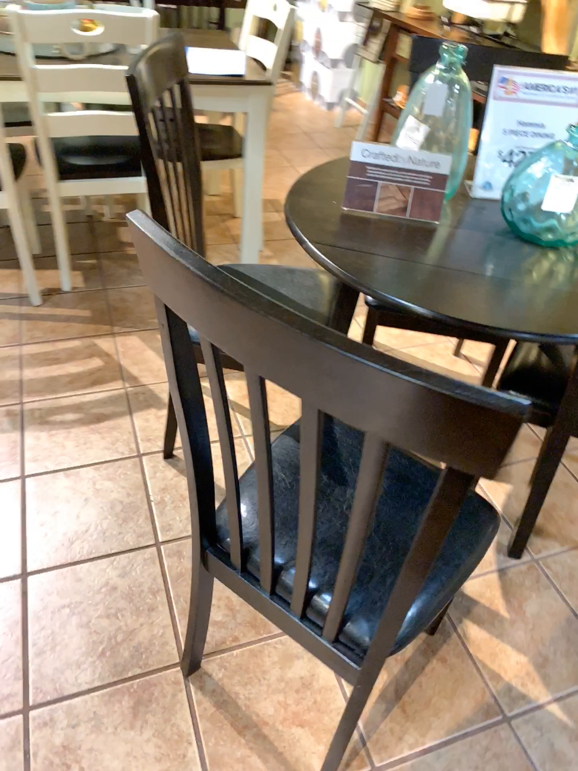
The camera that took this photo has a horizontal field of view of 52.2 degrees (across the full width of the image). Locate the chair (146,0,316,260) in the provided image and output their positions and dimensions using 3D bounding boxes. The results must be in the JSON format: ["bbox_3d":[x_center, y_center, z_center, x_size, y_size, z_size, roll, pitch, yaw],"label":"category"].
[{"bbox_3d":[-0.247,-0.982,2.260,0.521,0.884,0.406,-3,41,-12],"label":"chair"}]

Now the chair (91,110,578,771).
[{"bbox_3d":[0.124,0.159,0.932,0.454,0.923,0.563,30,45,25],"label":"chair"}]

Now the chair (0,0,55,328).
[{"bbox_3d":[-1.047,-0.729,1.884,0.405,0.894,0.543,-9,42,-17],"label":"chair"}]

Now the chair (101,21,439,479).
[{"bbox_3d":[-0.064,-0.256,1.388,0.541,0.933,0.386,4,40,-3],"label":"chair"}]
